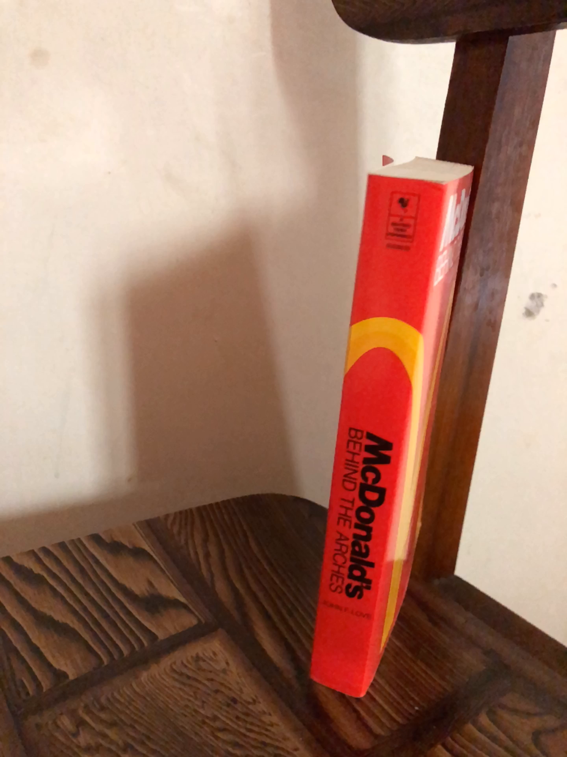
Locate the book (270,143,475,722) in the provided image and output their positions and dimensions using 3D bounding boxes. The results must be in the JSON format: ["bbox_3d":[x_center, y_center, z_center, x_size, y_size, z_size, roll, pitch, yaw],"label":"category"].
[{"bbox_3d":[0.054,0.009,0.336,0.040,0.239,0.191,10,19,19],"label":"book"}]
